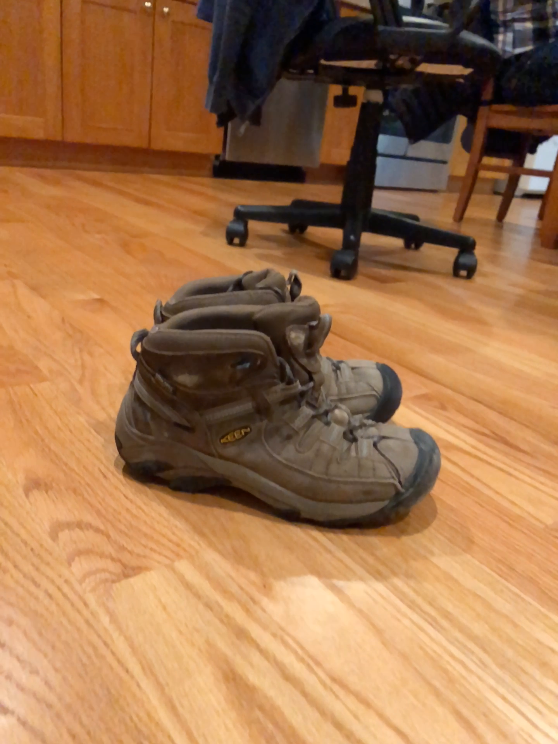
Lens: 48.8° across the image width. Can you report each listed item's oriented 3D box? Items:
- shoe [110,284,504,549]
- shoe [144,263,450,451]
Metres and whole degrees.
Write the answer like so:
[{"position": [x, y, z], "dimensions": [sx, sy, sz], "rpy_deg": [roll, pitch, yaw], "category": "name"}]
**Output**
[{"position": [0.015, 0.028, 0.481], "dimensions": [0.259, 0.139, 0.108], "rpy_deg": [8, 20, 2], "category": "shoe"}, {"position": [0.007, -0.014, 0.592], "dimensions": [0.259, 0.139, 0.108], "rpy_deg": [3, 20, -12], "category": "shoe"}]
